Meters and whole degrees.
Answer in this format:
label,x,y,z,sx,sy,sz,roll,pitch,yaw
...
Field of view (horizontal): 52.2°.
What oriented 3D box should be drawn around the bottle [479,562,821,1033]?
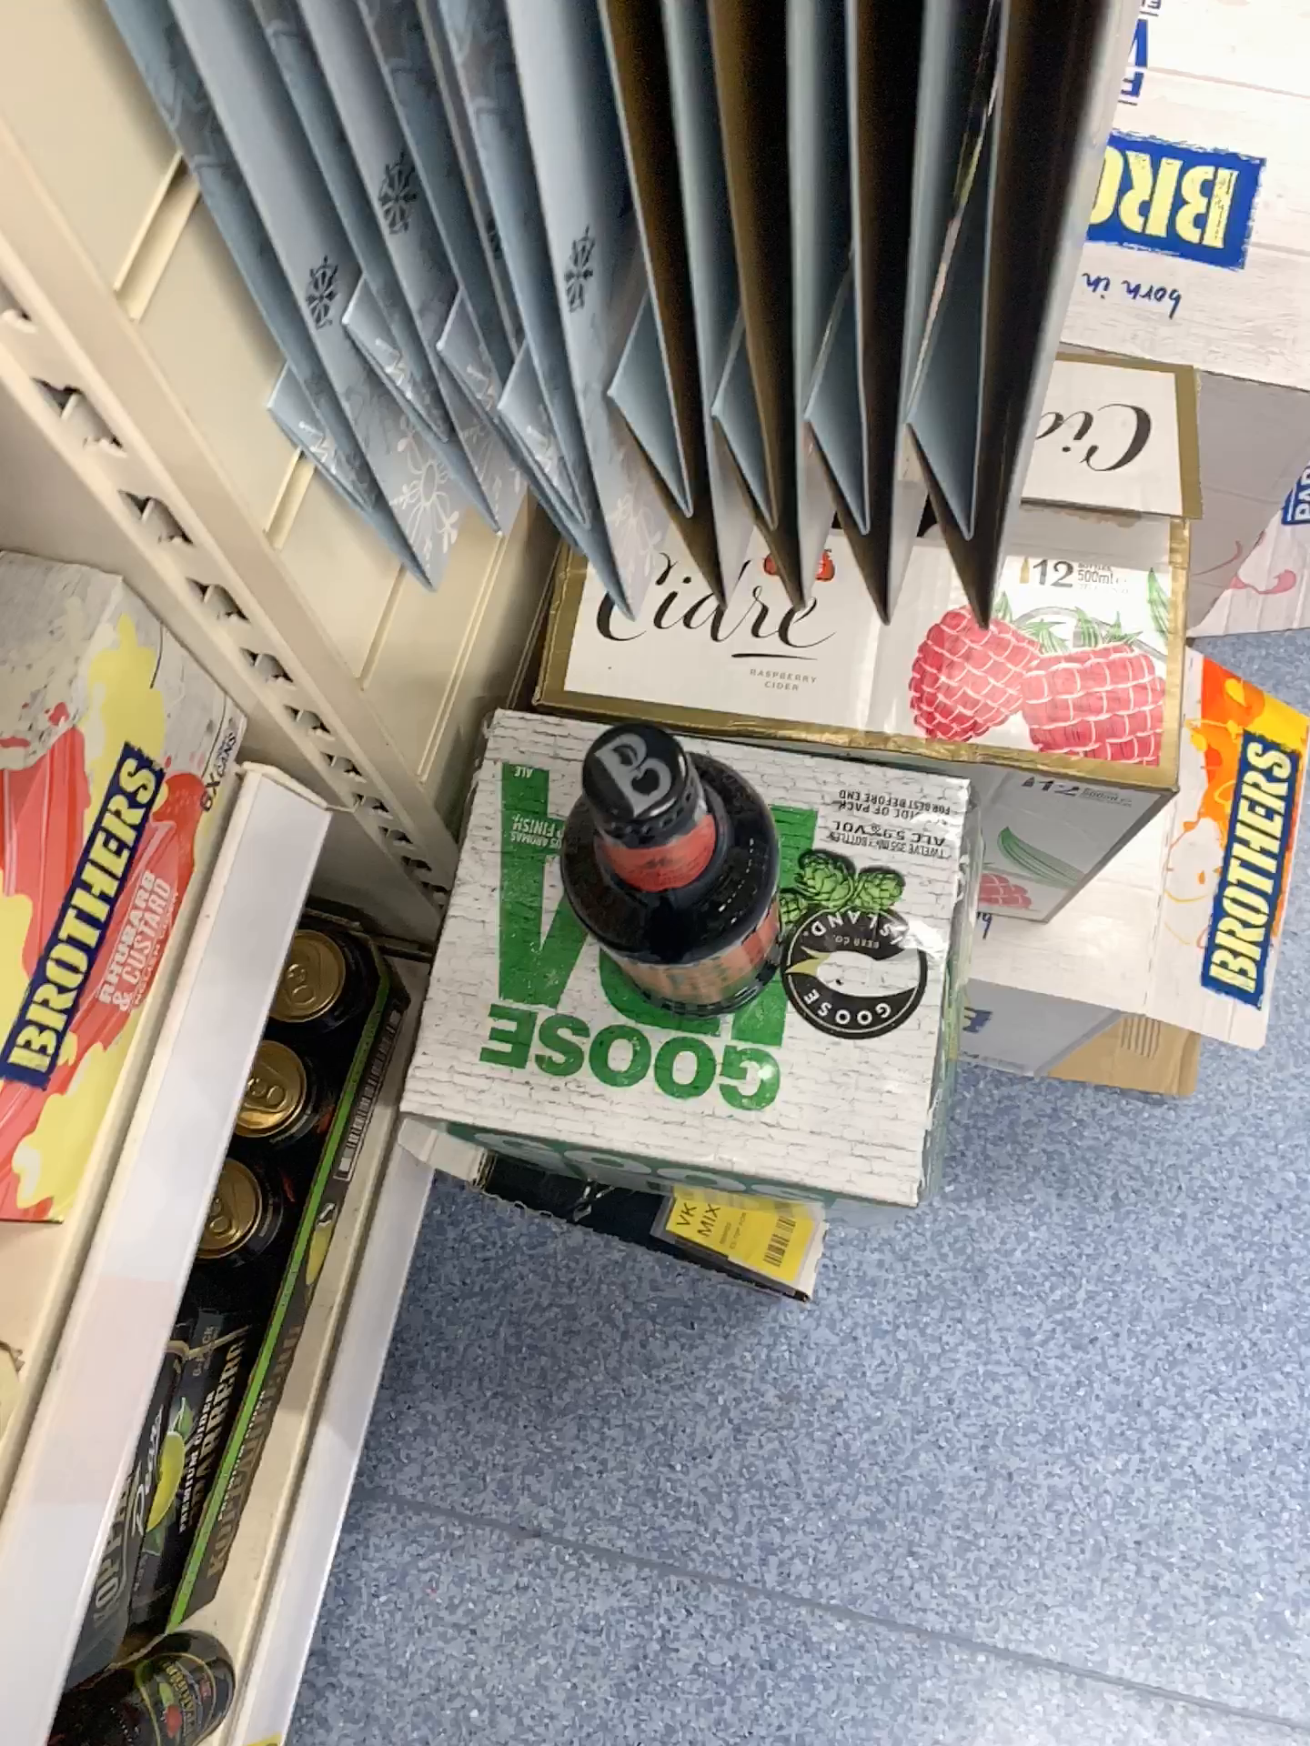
label,x,y,z,sx,sy,sz,roll,pitch,yaw
bottle,0.008,-0.008,0.457,0.070,0.236,0.070,-1,74,5
